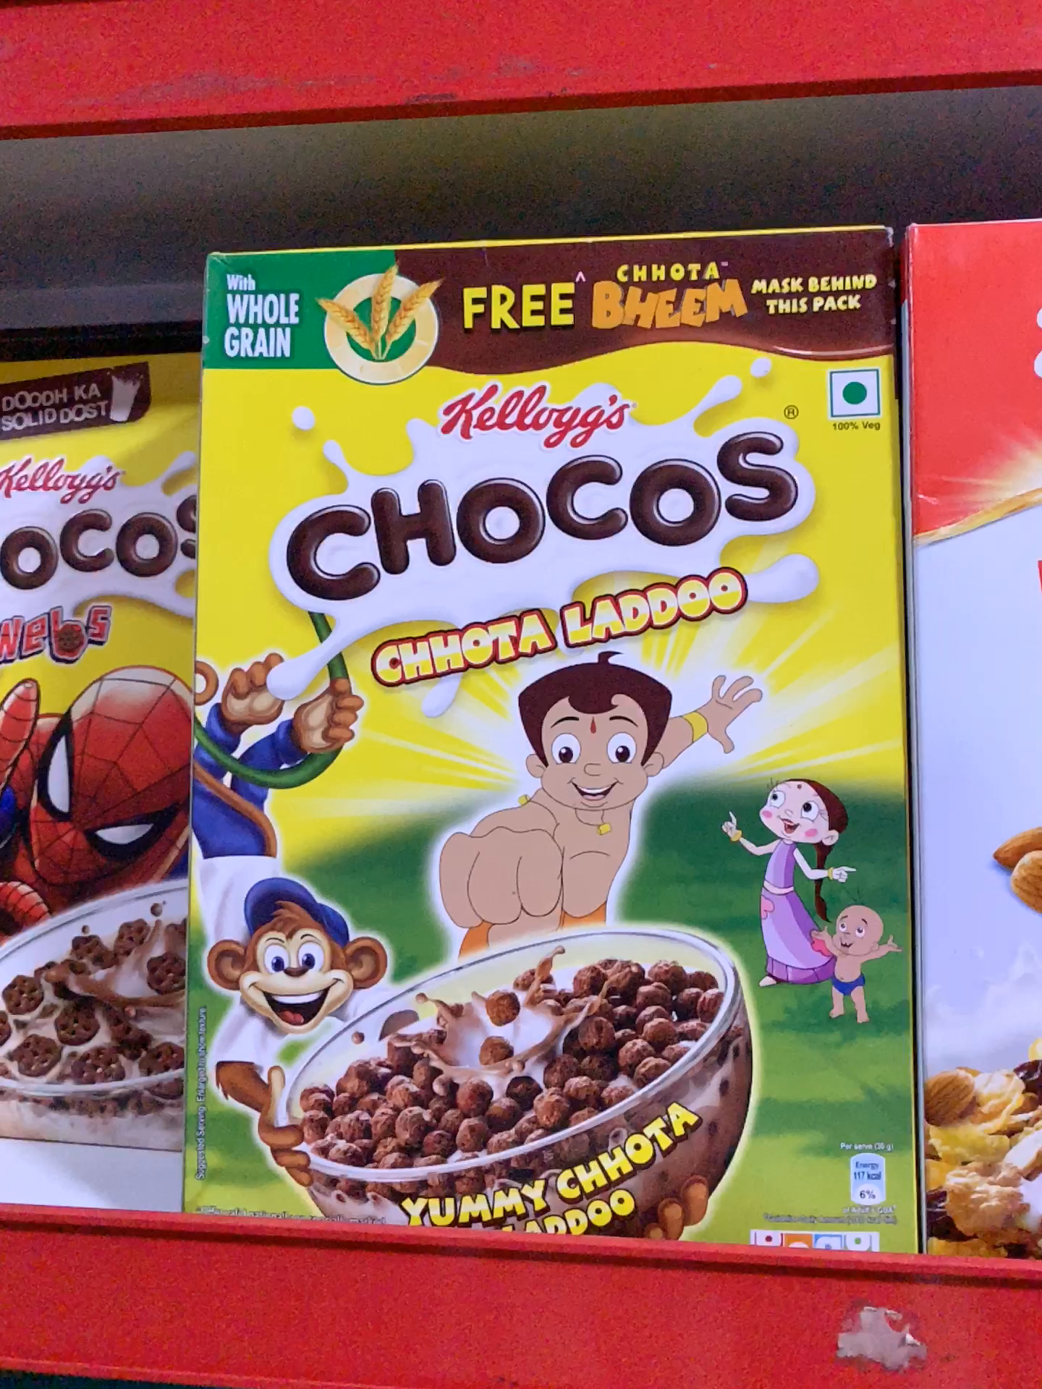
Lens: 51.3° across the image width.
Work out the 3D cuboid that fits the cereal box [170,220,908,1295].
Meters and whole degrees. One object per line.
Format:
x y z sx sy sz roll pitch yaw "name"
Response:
0.005 0.012 0.307 0.180 0.260 0.070 0 -4 6 "cereal box"
